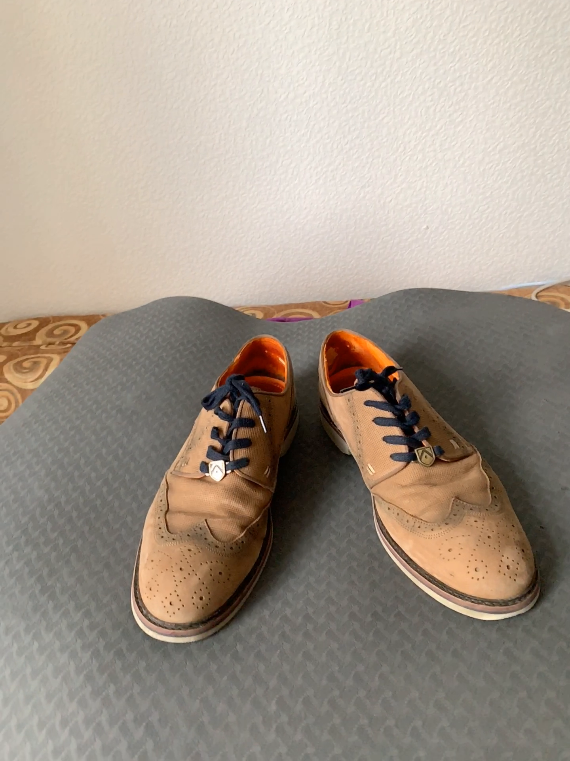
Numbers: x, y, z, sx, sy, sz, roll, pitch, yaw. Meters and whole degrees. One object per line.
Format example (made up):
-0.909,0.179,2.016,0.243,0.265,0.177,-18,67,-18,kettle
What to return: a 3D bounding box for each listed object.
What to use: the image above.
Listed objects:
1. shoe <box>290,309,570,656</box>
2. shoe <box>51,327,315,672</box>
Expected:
0.113,0.056,0.489,0.110,0.089,0.292,-18,37,-13,shoe
-0.059,0.073,0.506,0.110,0.089,0.301,3,37,14,shoe
